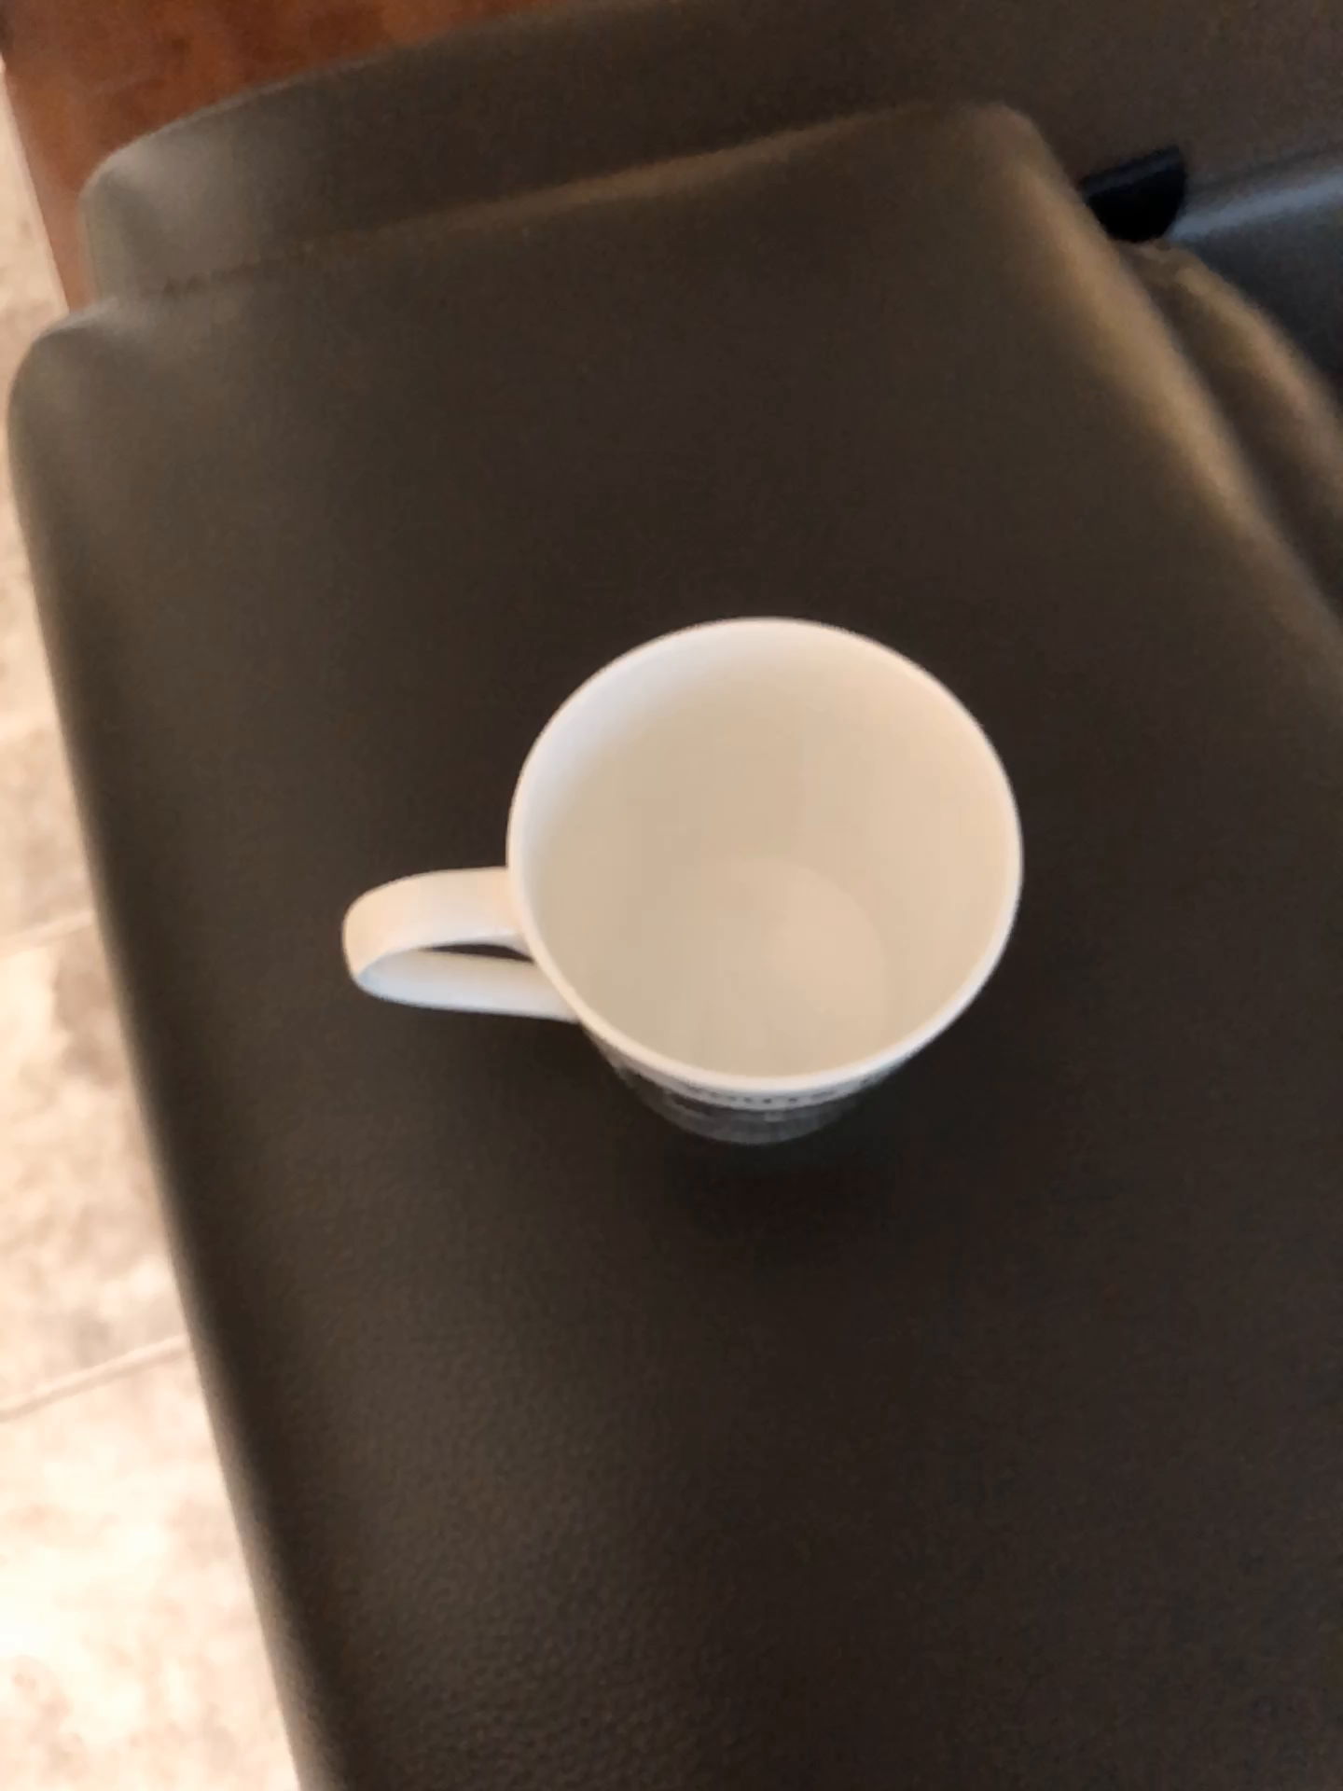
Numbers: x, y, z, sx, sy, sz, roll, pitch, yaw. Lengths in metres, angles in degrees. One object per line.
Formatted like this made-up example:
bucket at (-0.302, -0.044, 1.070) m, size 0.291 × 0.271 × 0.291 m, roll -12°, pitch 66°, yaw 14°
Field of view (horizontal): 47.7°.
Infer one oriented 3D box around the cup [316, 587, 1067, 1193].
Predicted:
cup at (0.000, 0.004, 0.293) m, size 0.117 × 0.089 × 0.081 m, roll -5°, pitch 69°, yaw -2°
